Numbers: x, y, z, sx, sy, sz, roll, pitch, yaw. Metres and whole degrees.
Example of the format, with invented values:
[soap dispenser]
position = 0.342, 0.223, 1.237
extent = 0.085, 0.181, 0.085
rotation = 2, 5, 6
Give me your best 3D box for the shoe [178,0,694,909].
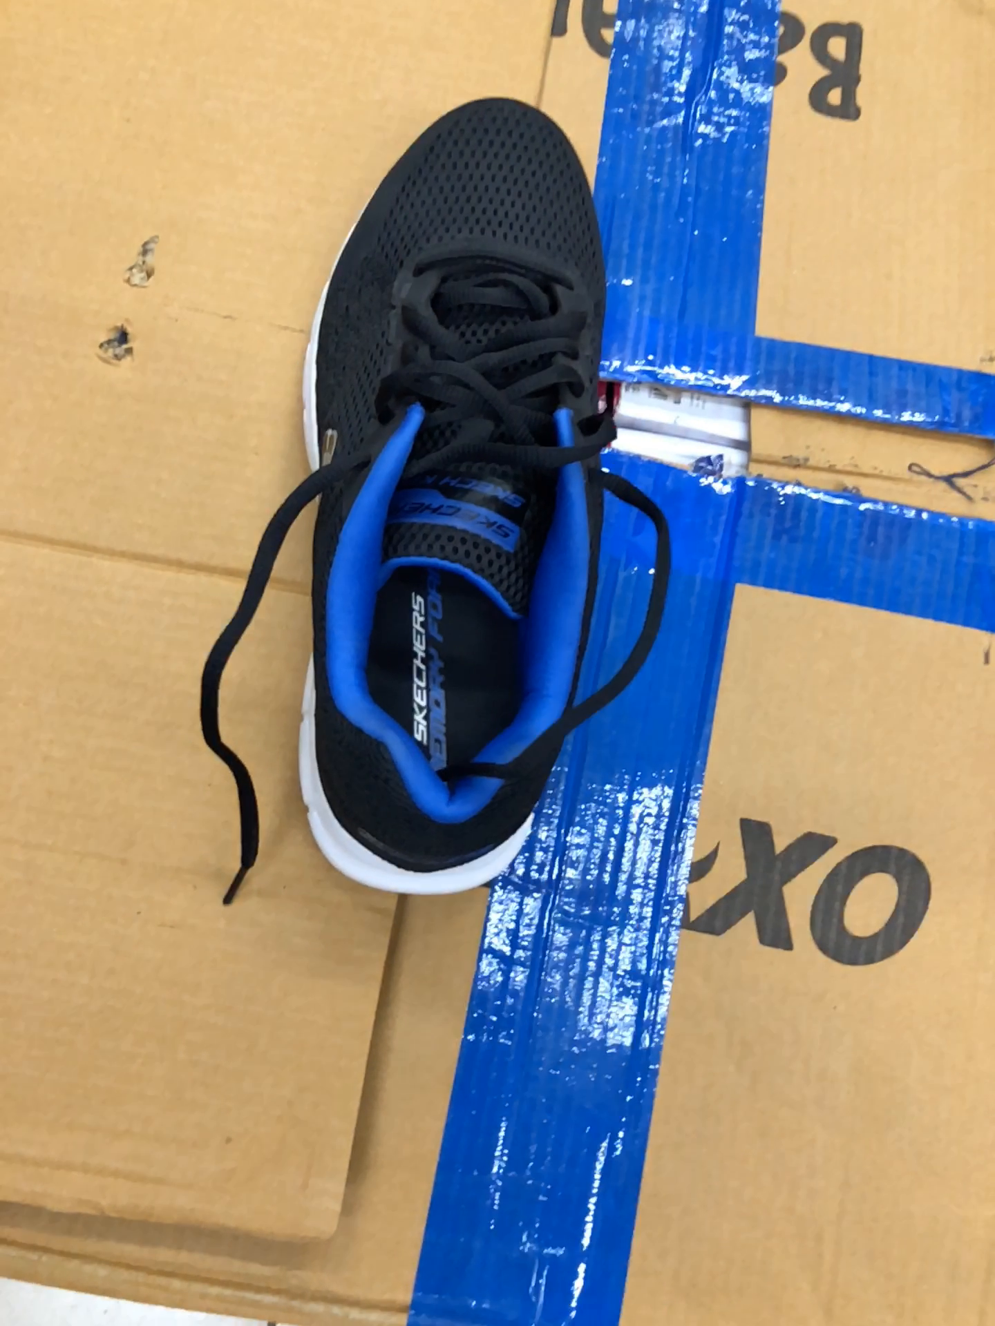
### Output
[shoe]
position = -0.015, -0.062, 0.372
extent = 0.110, 0.130, 0.270
rotation = 8, 78, -3
